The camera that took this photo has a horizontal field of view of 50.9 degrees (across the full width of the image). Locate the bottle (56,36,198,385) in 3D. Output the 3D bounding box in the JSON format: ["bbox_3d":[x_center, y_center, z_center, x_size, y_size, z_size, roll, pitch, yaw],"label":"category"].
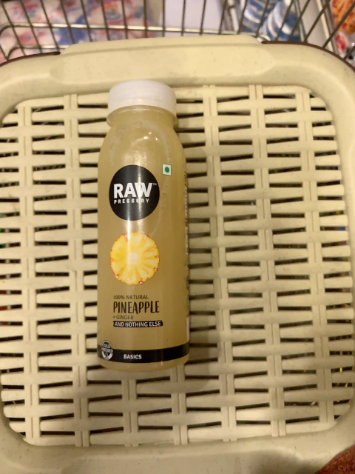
[{"bbox_3d":[-0.023,-0.014,0.193,0.060,0.050,0.160,-1,83,-1],"label":"bottle"}]
